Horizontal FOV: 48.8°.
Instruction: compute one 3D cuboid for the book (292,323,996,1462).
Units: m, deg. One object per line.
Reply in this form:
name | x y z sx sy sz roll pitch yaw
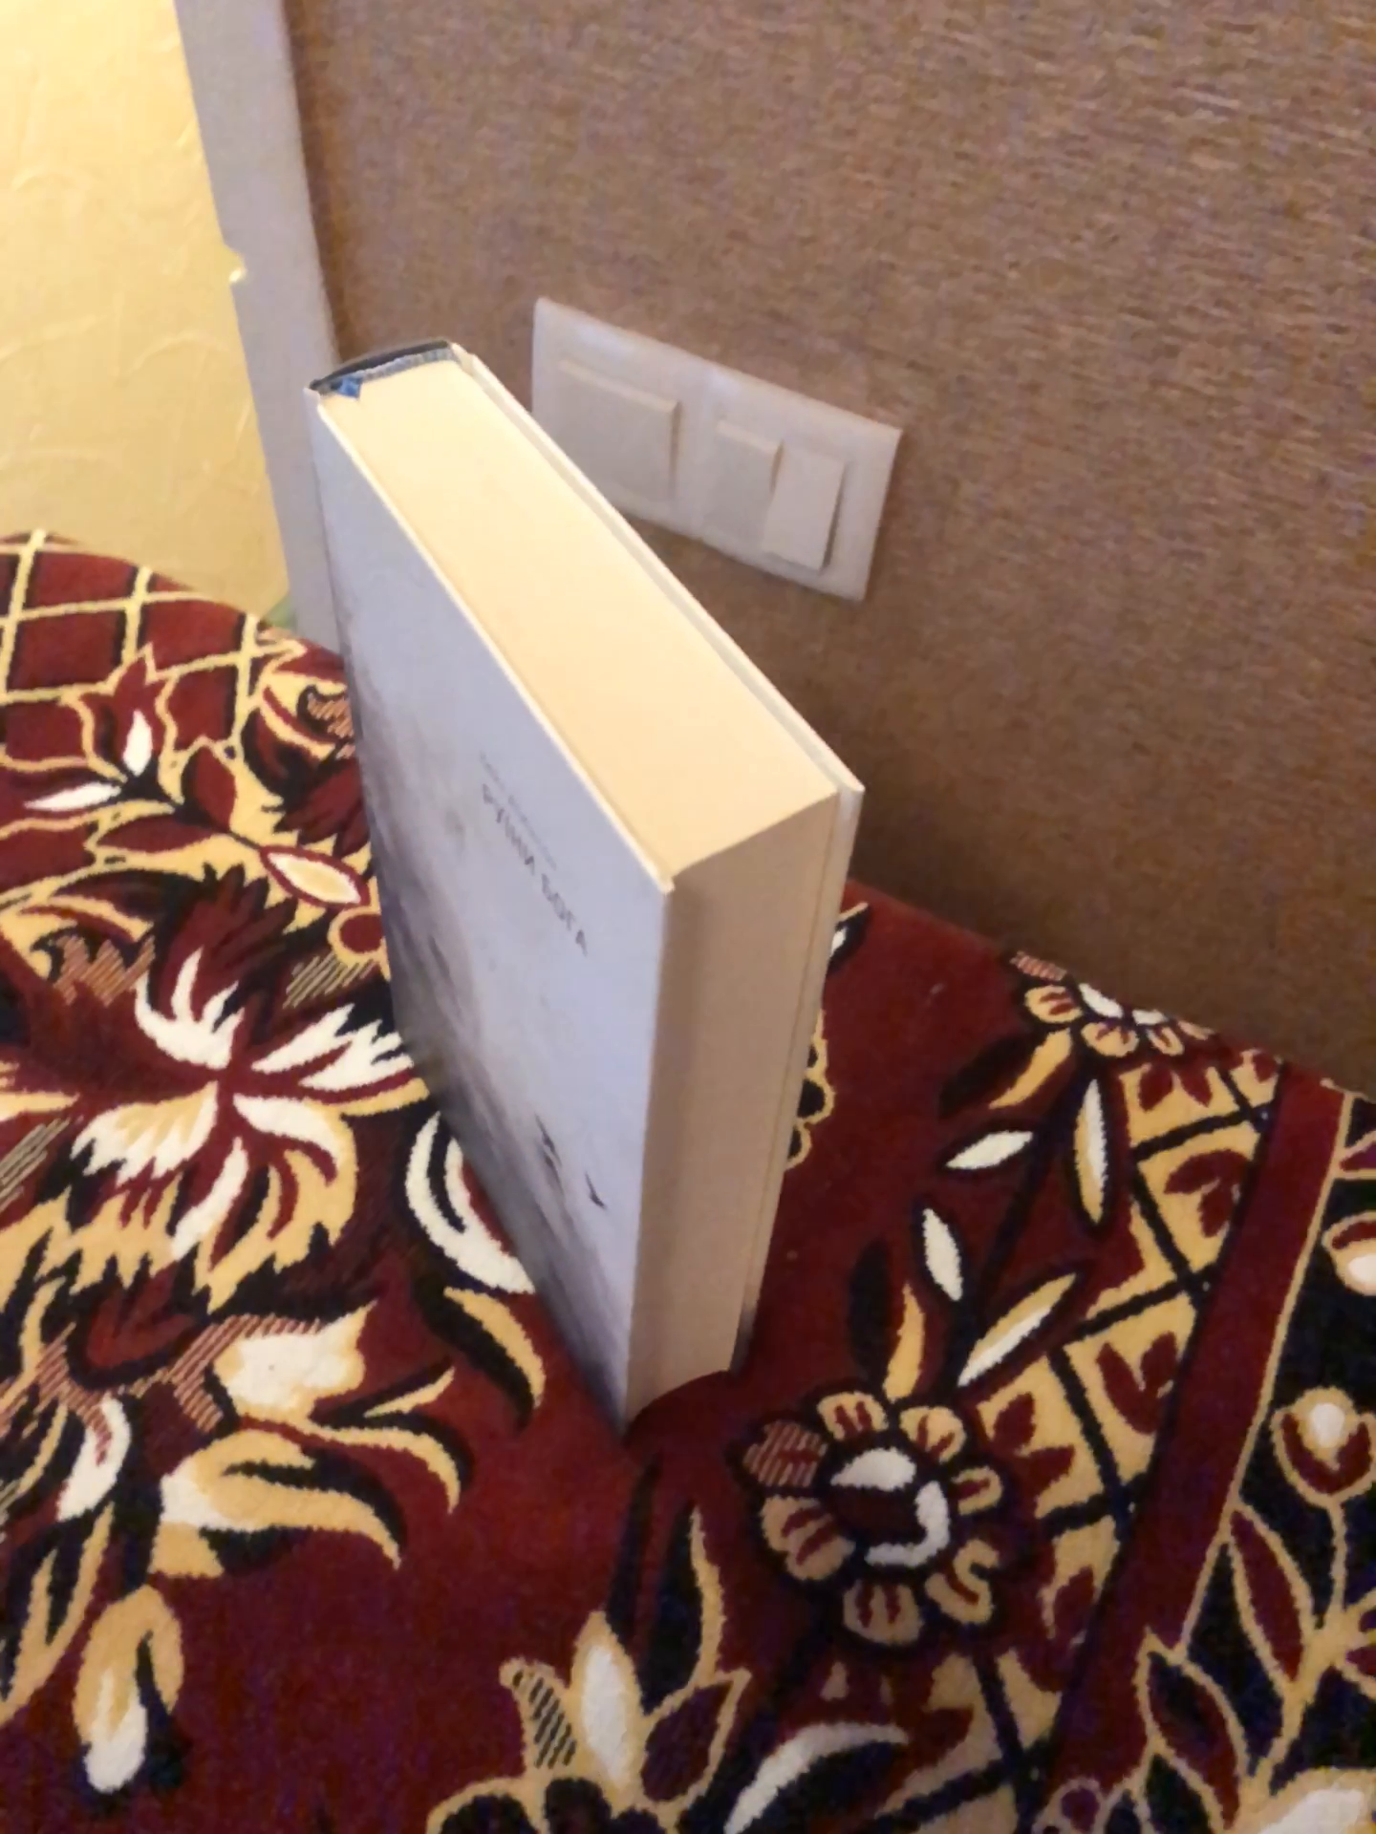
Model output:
book | -0.019 0.007 0.324 0.048 0.200 0.145 -24 56 -21
